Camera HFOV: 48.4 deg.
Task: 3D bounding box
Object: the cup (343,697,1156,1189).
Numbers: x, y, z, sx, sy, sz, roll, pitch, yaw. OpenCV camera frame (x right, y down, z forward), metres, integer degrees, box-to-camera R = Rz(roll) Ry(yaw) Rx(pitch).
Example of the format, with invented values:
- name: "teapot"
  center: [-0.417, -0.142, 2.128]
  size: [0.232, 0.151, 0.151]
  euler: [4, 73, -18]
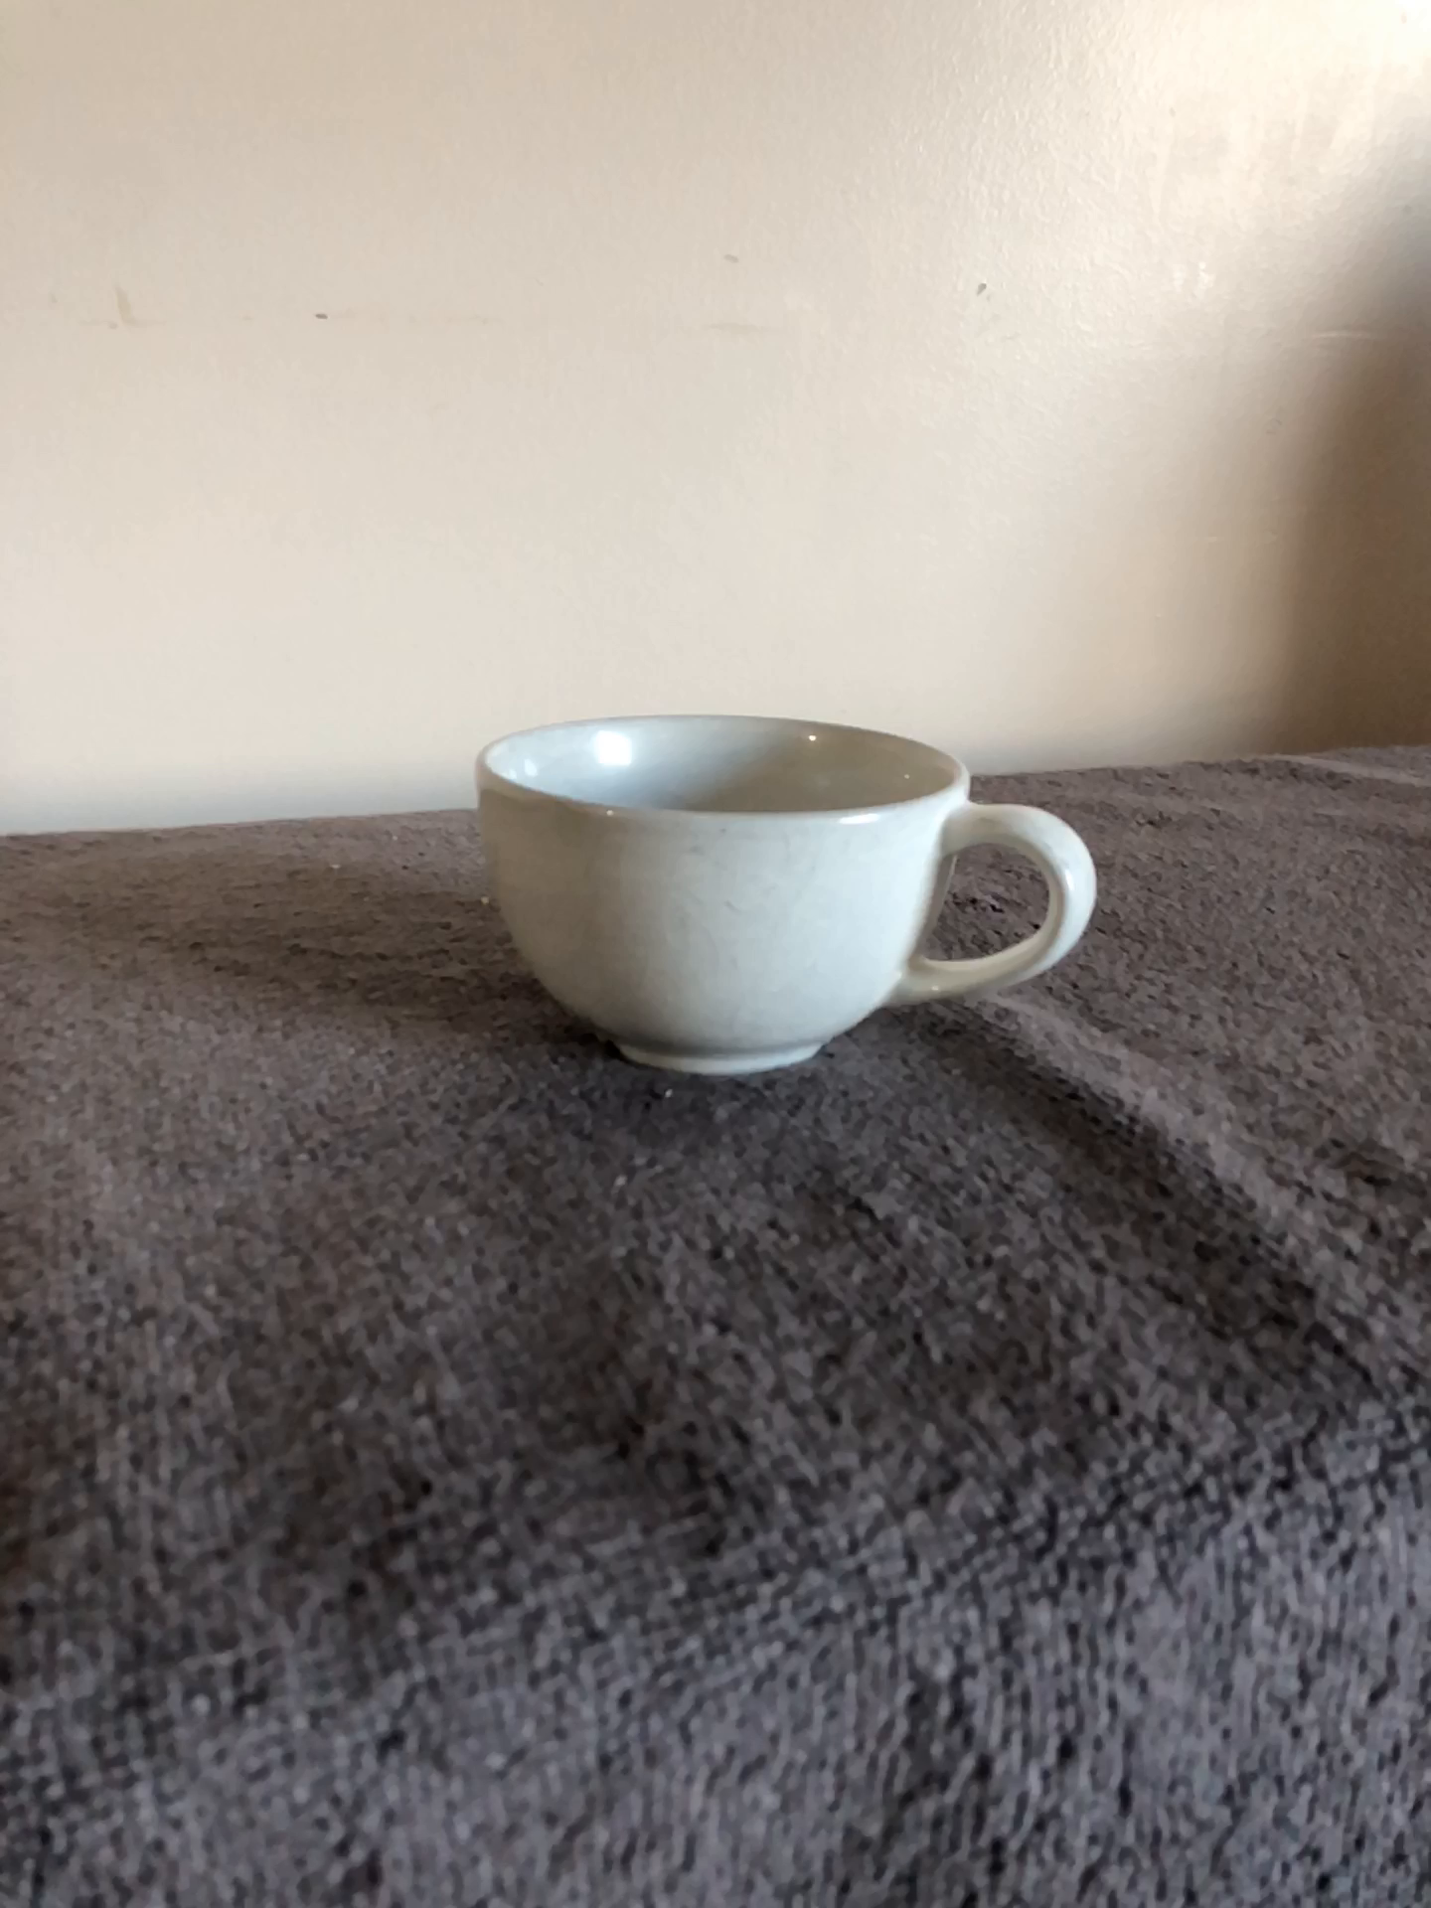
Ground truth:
- name: "cup"
  center: [0.009, -0.011, 0.295]
  size: [0.120, 0.050, 0.090]
  euler: [10, 21, 24]
